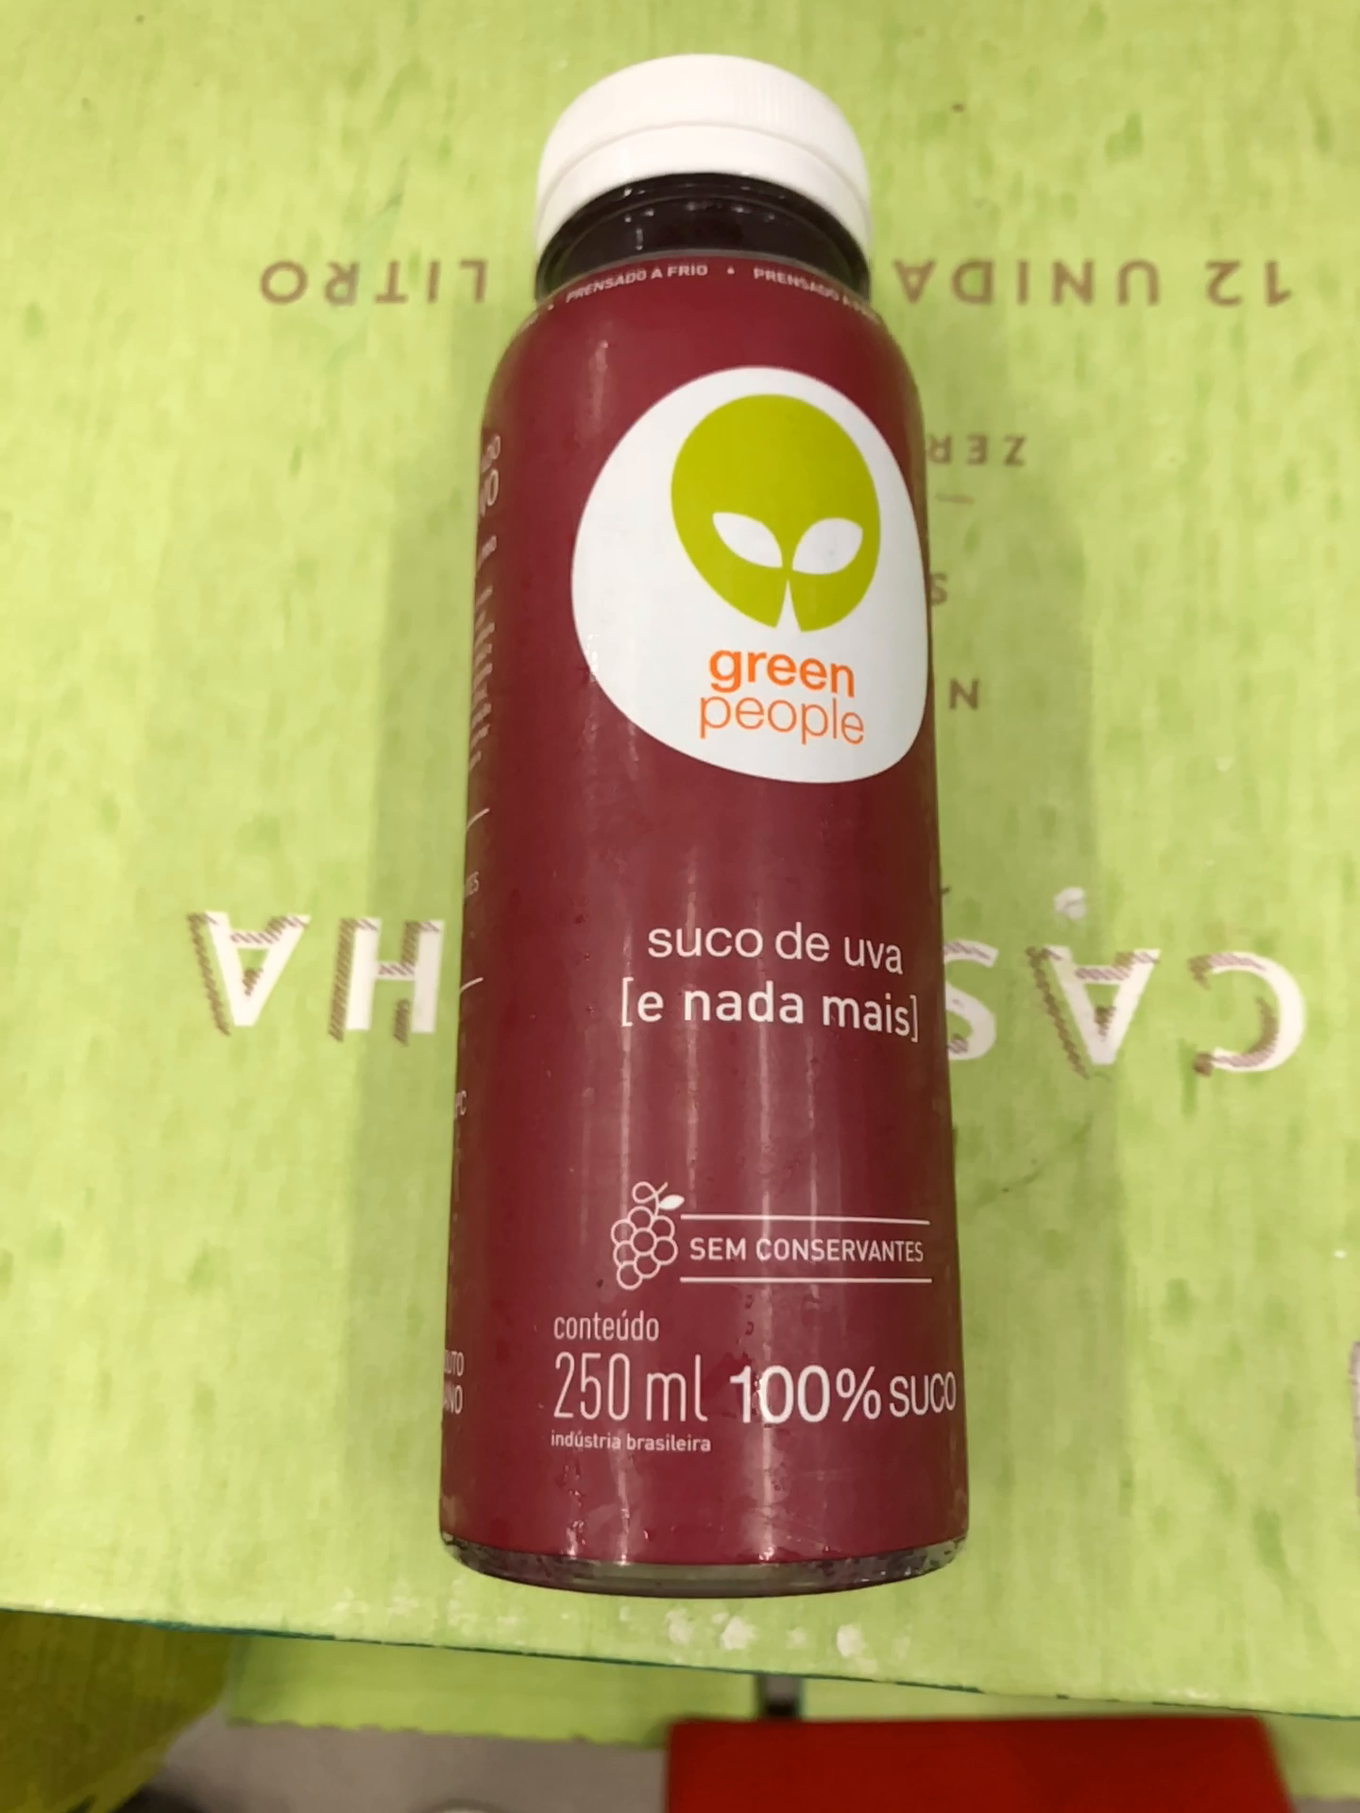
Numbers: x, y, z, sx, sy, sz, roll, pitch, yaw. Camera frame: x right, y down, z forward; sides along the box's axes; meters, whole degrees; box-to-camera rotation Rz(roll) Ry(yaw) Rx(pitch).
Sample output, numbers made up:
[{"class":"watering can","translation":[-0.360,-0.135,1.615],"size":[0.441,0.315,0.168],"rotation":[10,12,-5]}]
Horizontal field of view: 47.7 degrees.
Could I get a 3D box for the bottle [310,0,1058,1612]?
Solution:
[{"class":"bottle","translation":[-0.003,-0.020,0.175],"size":[0.060,0.060,0.170],"rotation":[5,77,-18]}]
